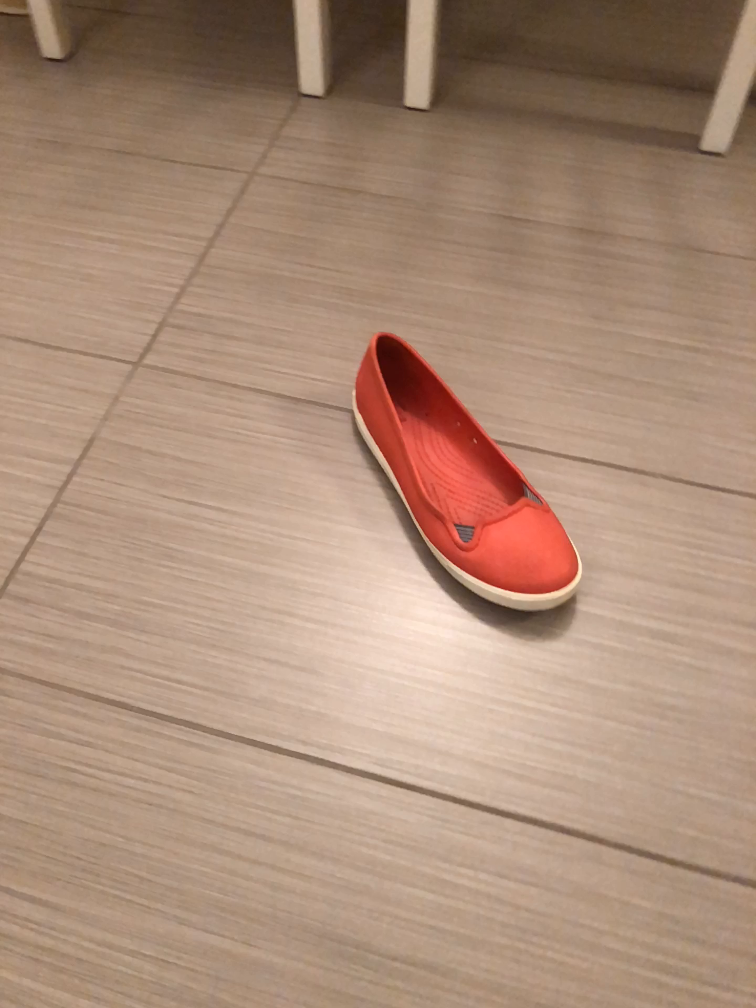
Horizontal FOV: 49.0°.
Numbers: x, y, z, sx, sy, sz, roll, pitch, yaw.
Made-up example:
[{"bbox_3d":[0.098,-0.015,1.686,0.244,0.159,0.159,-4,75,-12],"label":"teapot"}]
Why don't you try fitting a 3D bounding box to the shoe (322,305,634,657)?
[{"bbox_3d":[0.064,-0.029,0.640,0.100,0.070,0.271,-24,58,-15],"label":"shoe"}]
